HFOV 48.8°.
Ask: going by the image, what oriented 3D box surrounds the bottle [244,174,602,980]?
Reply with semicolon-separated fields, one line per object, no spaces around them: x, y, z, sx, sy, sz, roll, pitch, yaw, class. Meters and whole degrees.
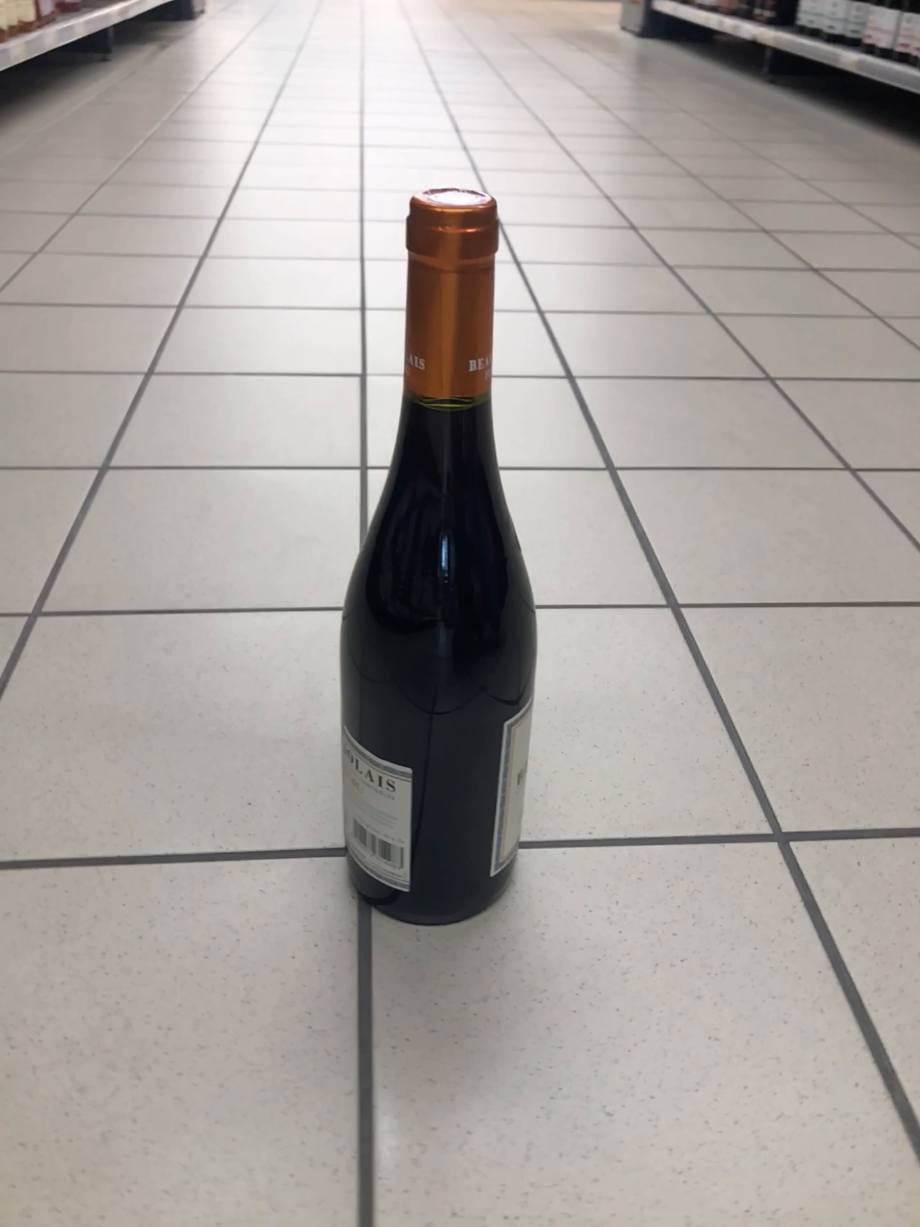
-0.022;-0.001;0.380;0.090;0.288;0.090;2;33;-1;bottle
